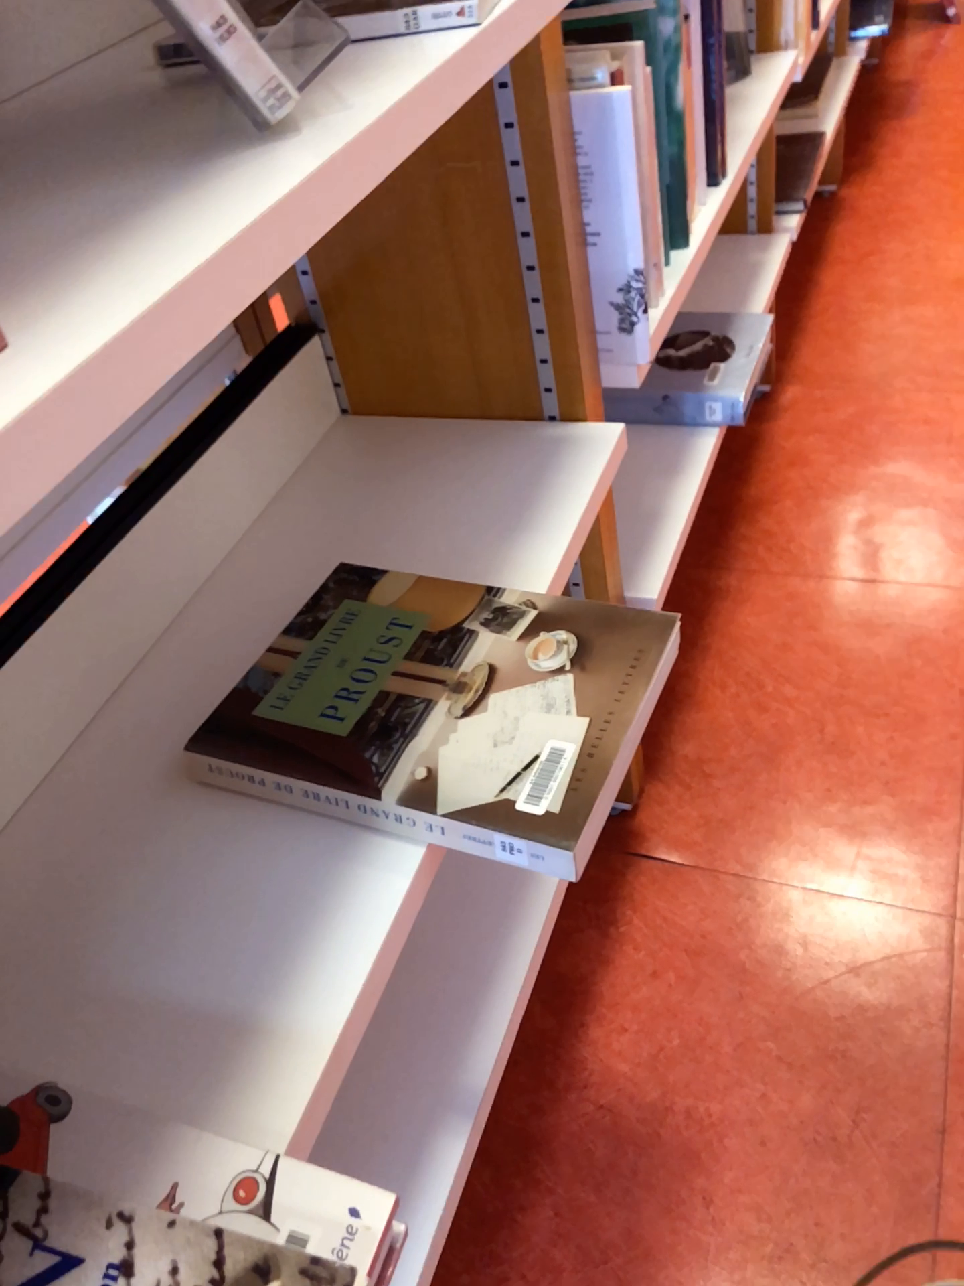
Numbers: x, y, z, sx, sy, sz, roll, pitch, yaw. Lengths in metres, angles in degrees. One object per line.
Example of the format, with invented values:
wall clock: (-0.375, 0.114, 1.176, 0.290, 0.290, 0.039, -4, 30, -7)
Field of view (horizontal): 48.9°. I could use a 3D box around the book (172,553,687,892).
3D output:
book: (-0.026, 0.031, 0.618, 0.245, 0.030, 0.181, 11, 46, 24)
